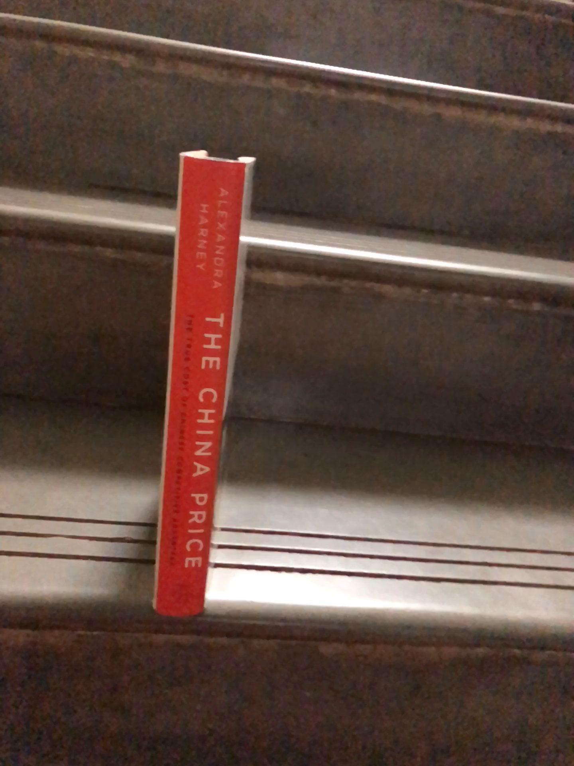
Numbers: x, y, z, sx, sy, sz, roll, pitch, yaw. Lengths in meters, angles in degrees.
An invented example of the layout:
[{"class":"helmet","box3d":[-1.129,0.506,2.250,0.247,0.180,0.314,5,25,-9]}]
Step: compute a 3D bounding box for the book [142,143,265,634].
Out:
[{"class":"book","box3d":[-0.047,-0.012,0.381,0.040,0.239,0.181,5,20,-5]}]
